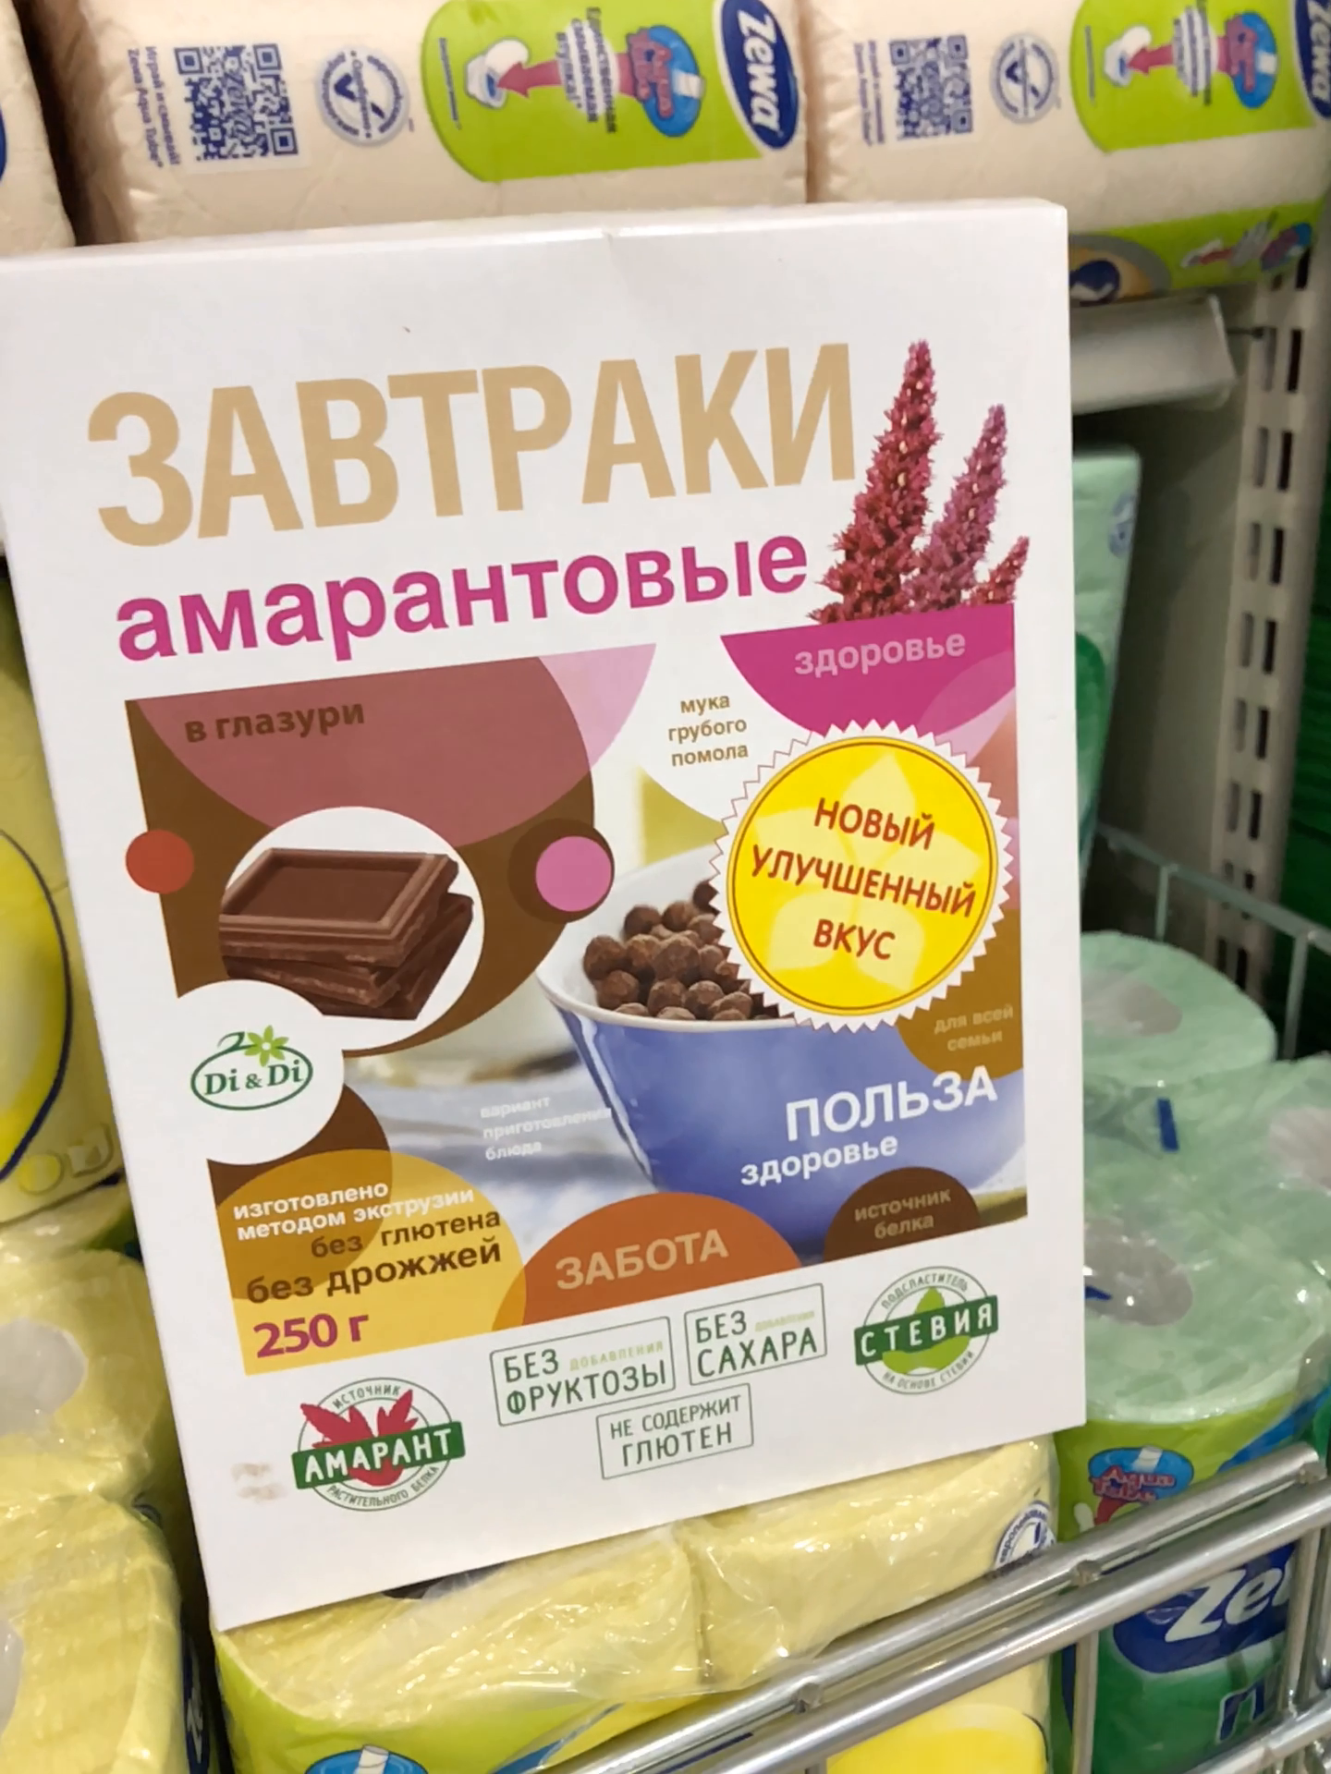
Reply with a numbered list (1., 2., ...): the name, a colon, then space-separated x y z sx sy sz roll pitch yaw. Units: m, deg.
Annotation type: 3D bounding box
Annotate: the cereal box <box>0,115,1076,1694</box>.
1. cereal box: -0.022 0.005 0.293 0.190 0.269 0.050 -9 15 -12
